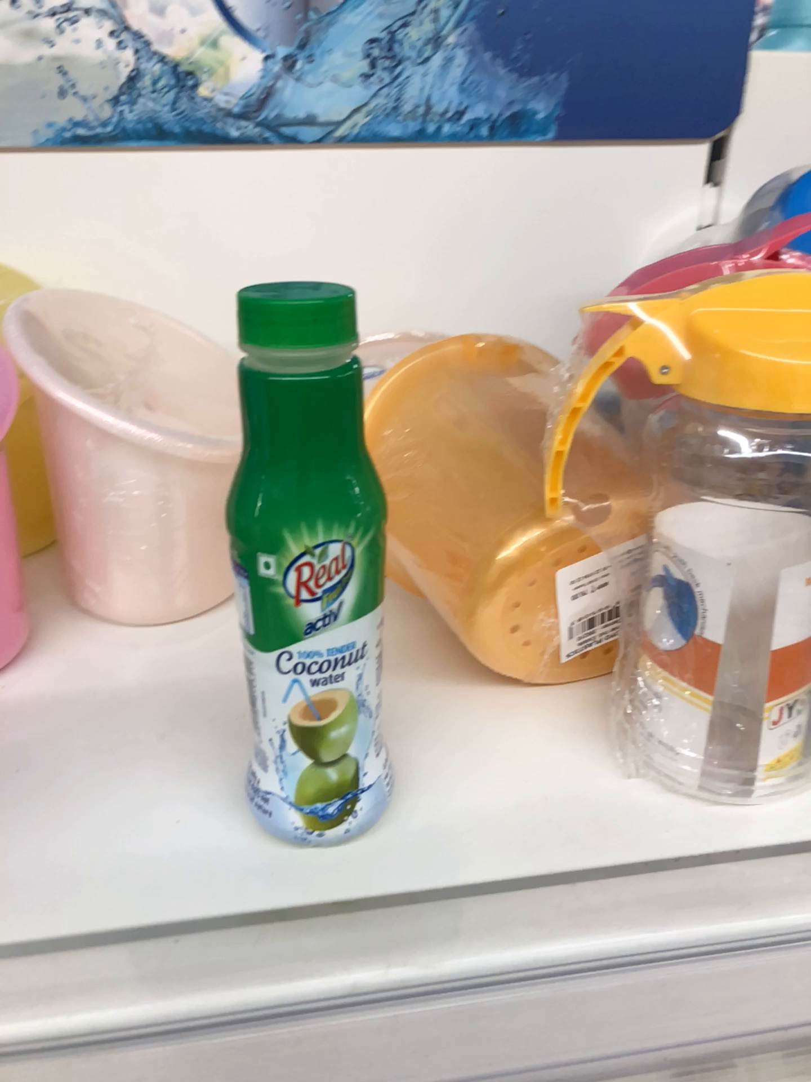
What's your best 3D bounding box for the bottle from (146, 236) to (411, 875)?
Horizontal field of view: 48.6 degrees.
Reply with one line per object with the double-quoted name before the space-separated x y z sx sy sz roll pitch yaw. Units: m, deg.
"bottle" -0.037 0.006 0.273 0.060 0.179 0.060 1 26 0
